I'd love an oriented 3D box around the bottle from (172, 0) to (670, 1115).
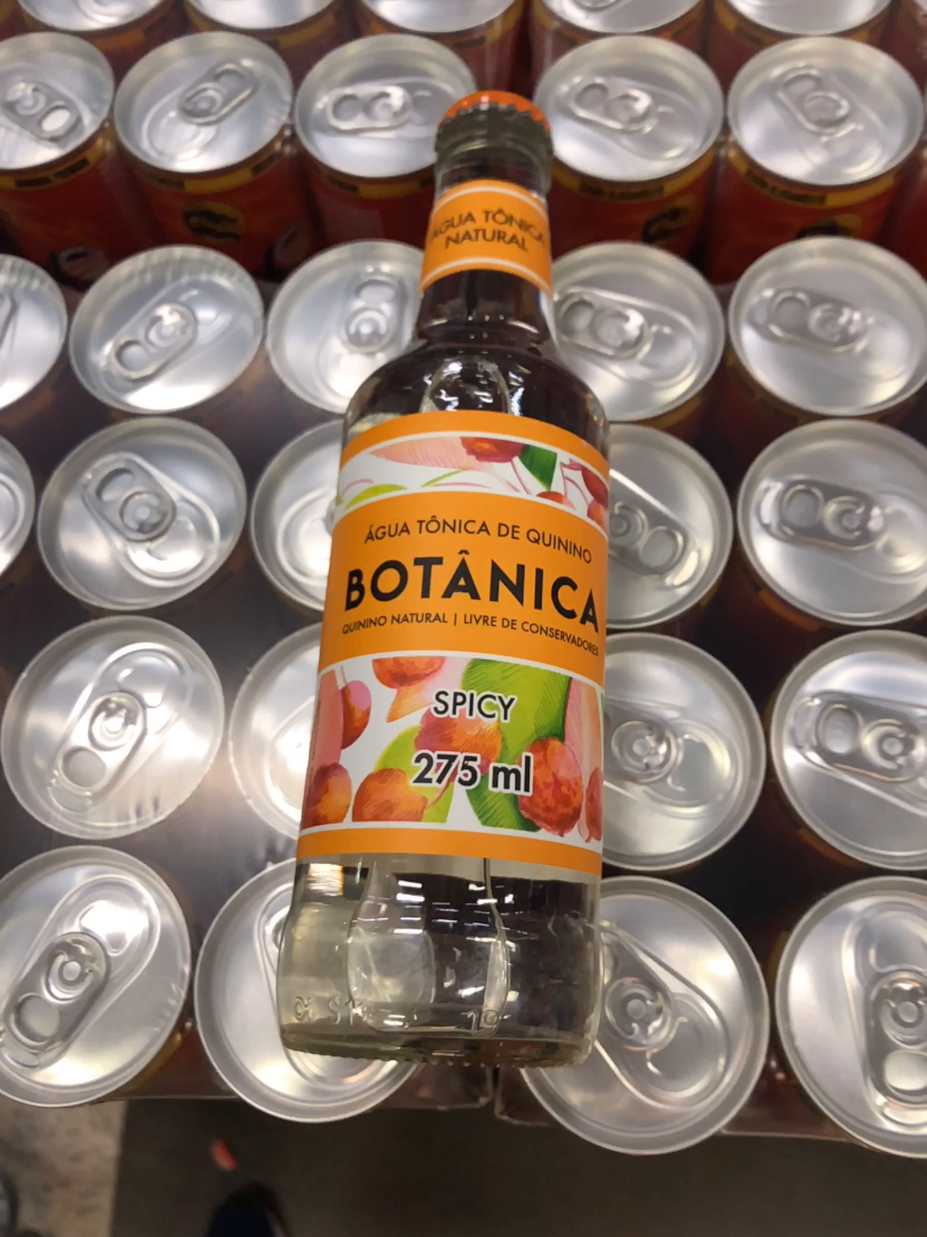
[{"bbox_3d":[0.001,-0.026,0.201,0.070,0.050,0.210,2,73,4],"label":"bottle"}]
